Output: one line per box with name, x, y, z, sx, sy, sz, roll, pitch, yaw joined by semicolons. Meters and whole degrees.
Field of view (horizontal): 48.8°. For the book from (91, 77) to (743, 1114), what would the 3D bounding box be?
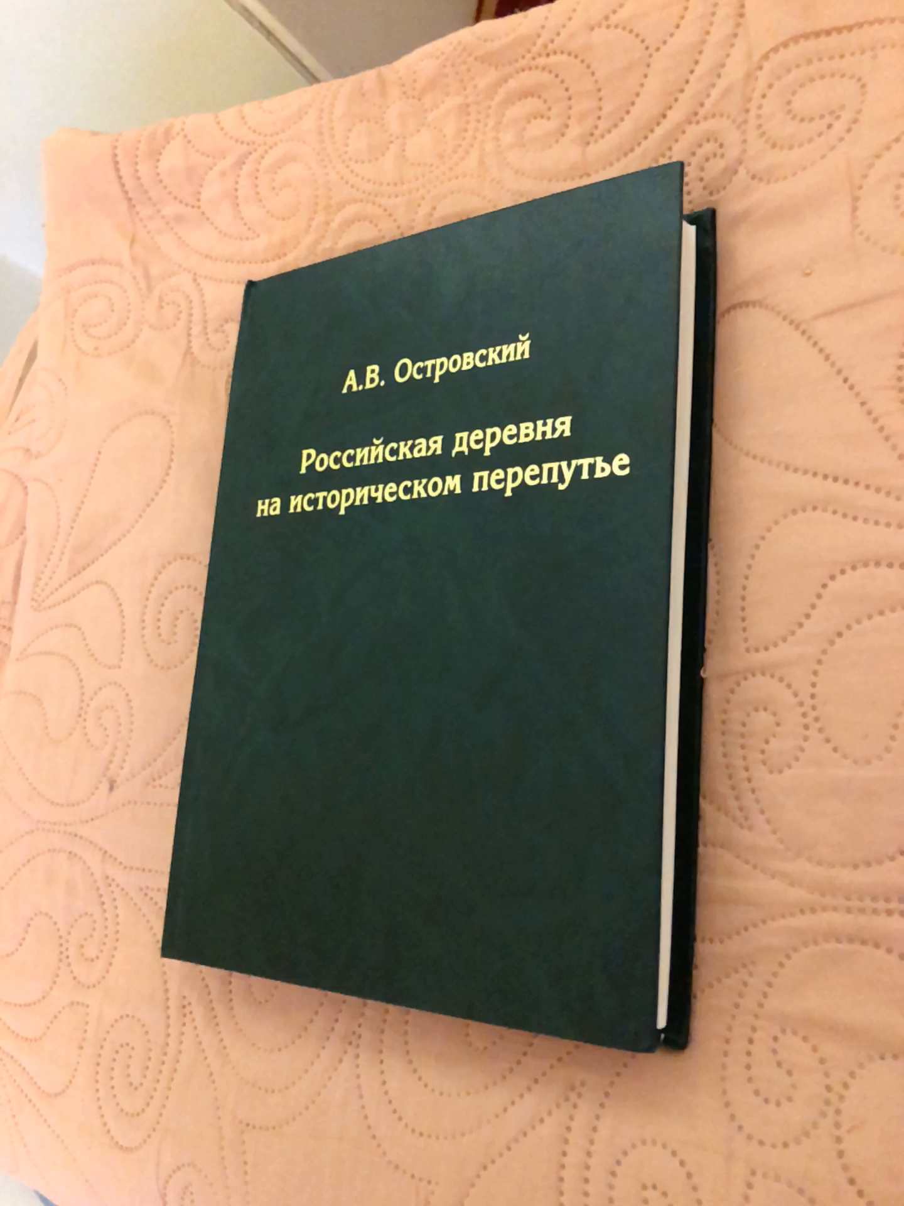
book;-0.012;-0.006;0.290;0.181;0.040;0.240;-4;75;33
